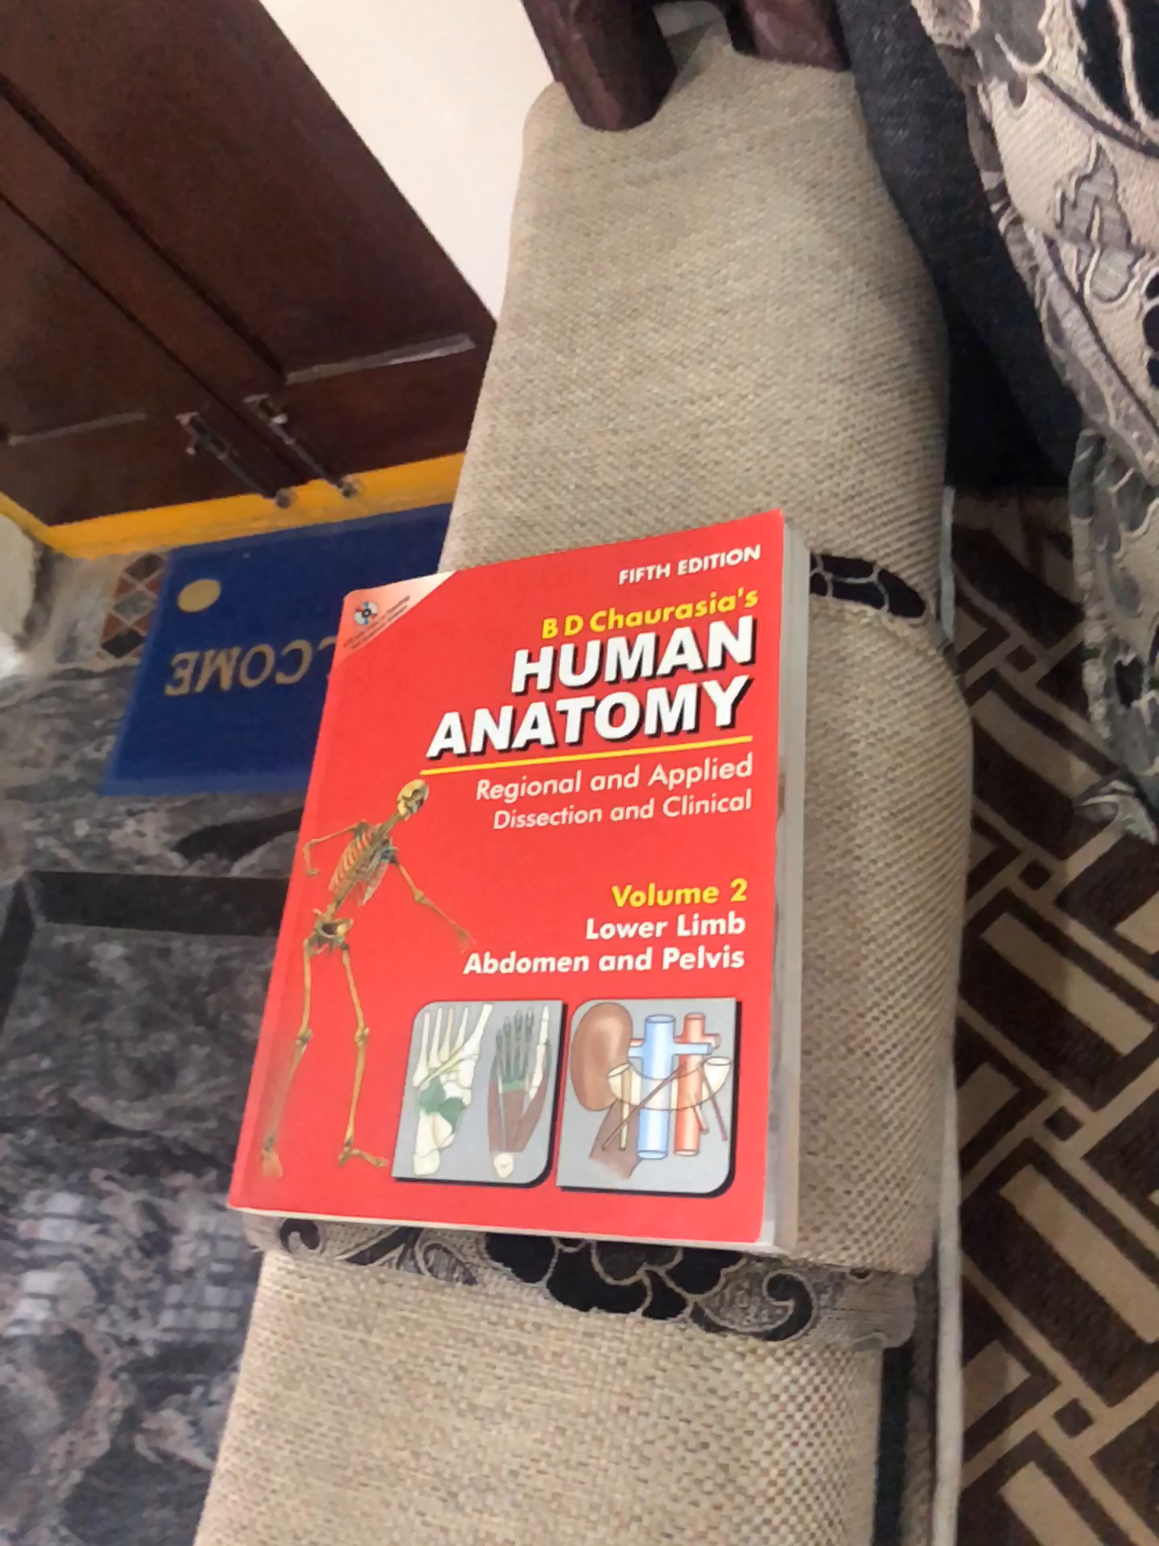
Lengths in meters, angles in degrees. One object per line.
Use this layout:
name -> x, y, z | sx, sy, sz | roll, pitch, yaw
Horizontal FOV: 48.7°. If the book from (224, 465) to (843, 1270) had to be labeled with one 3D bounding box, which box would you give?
book -> -0.012, 0.031, 0.506 | 0.221, 0.040, 0.290 | -6, 64, 26
